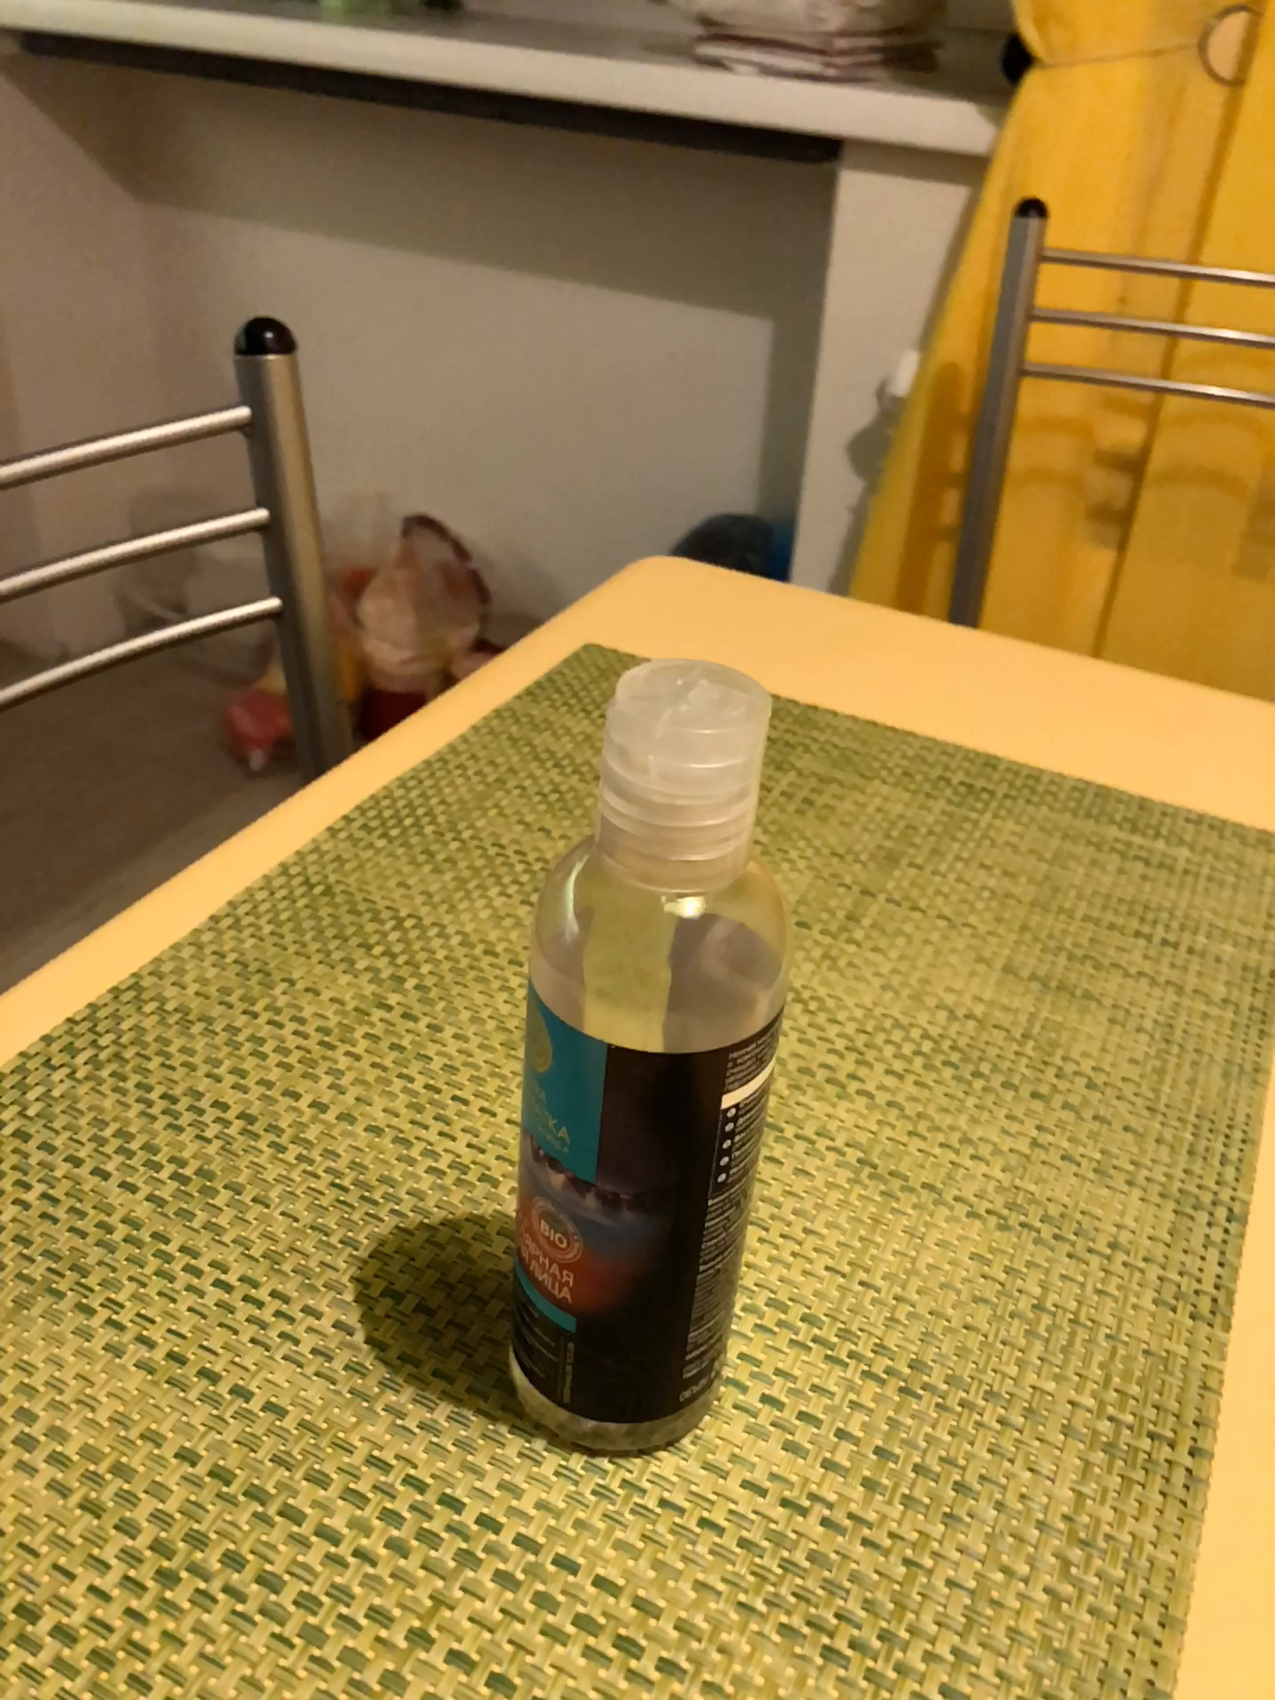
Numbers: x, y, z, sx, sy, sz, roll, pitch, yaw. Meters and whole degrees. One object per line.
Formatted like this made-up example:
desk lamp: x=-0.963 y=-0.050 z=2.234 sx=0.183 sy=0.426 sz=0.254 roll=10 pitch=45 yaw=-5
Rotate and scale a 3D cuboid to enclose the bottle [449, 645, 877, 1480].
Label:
bottle: x=-0.003 y=0.043 z=0.262 sx=0.054 sy=0.149 sz=0.051 roll=3 pitch=33 yaw=-2
